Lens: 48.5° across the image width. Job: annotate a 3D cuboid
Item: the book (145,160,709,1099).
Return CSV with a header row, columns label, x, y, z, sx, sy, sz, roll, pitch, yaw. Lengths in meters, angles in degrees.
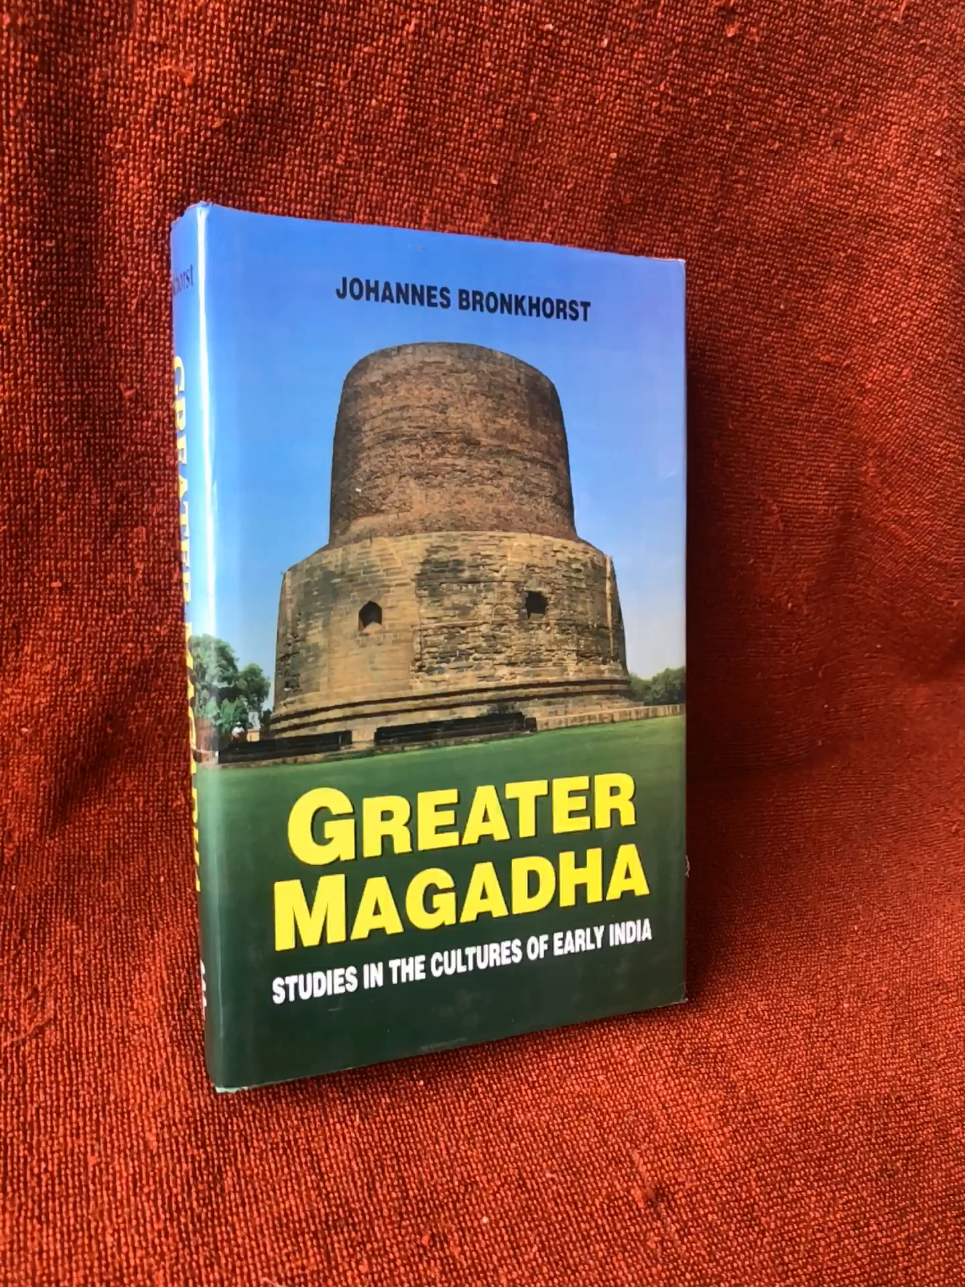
label,x,y,z,sx,sy,sz,roll,pitch,yaw
book,-0.011,-0.004,0.294,0.150,0.220,0.030,-2,4,-23
